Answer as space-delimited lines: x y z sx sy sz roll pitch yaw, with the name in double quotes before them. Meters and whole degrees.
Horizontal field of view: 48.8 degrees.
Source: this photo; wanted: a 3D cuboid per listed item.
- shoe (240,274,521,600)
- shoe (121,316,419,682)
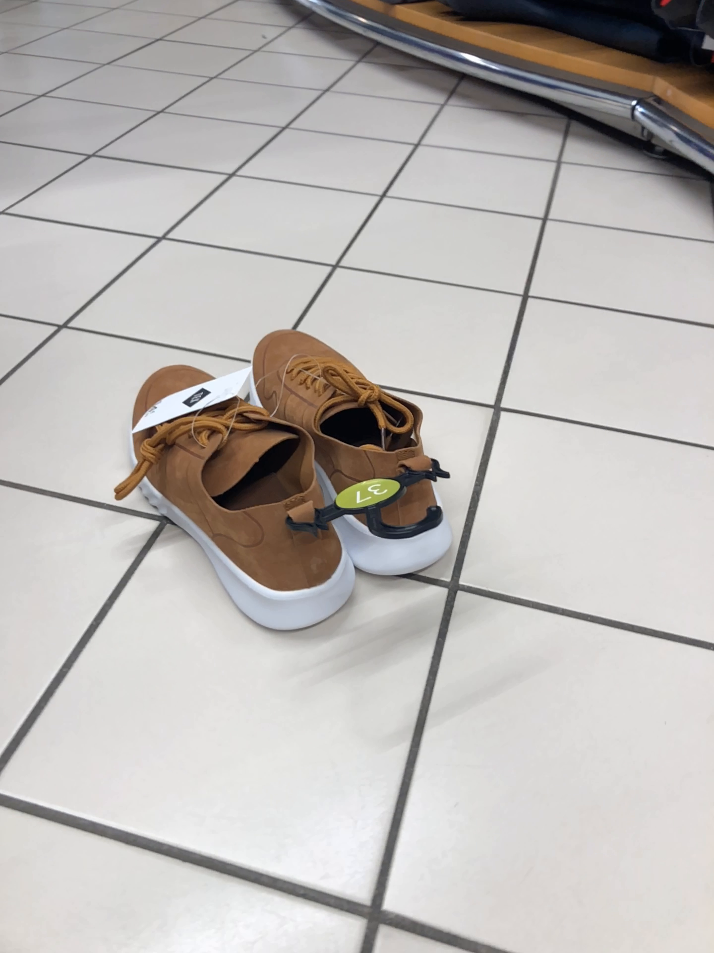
"shoe" 0.003 -0.039 0.545 0.090 0.099 0.221 -17 44 -21
"shoe" -0.065 0.001 0.515 0.090 0.099 0.231 -20 46 -24
